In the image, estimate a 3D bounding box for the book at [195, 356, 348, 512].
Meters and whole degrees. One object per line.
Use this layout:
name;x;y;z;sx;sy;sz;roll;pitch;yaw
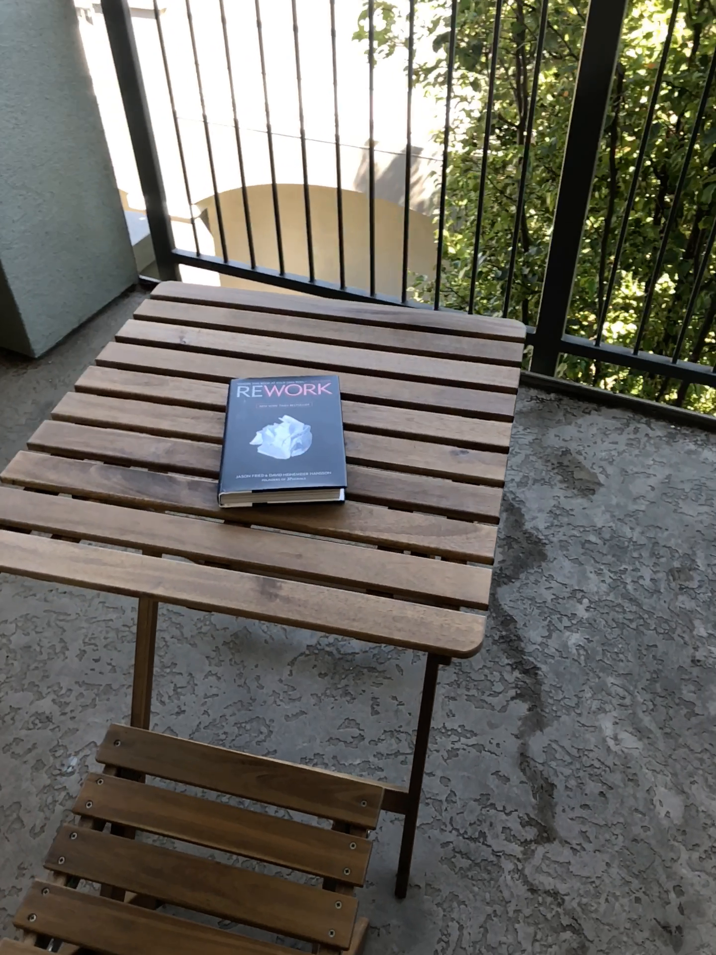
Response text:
book;-0.102;-0.062;0.984;0.170;0.040;0.241;-3;44;-2
